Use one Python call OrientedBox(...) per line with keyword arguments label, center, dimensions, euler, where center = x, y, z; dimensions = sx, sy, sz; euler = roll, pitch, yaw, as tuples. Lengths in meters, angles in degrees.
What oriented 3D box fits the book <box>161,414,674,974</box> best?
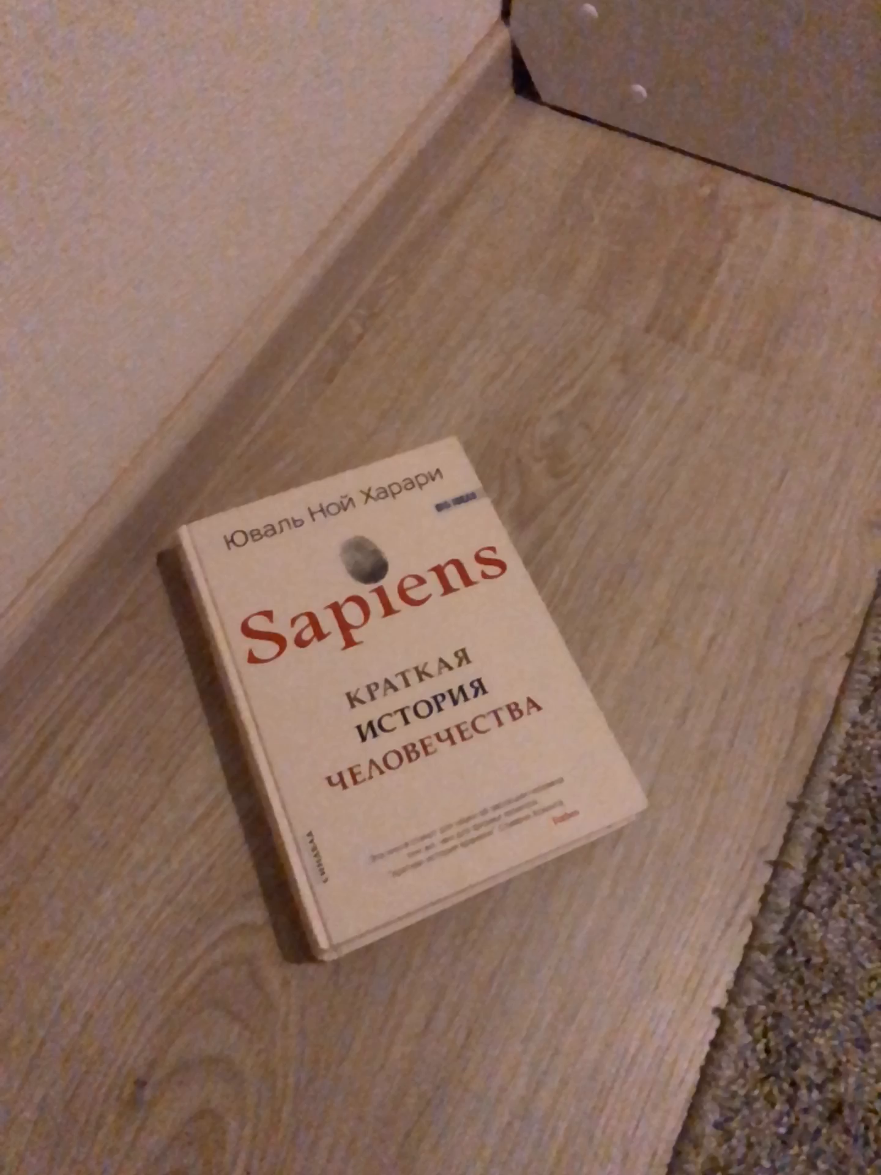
OrientedBox(label="book", center=(-0.023, 0.041, 0.522), dimensions=(0.187, 0.040, 0.259), euler=(-20, 63, -11))
